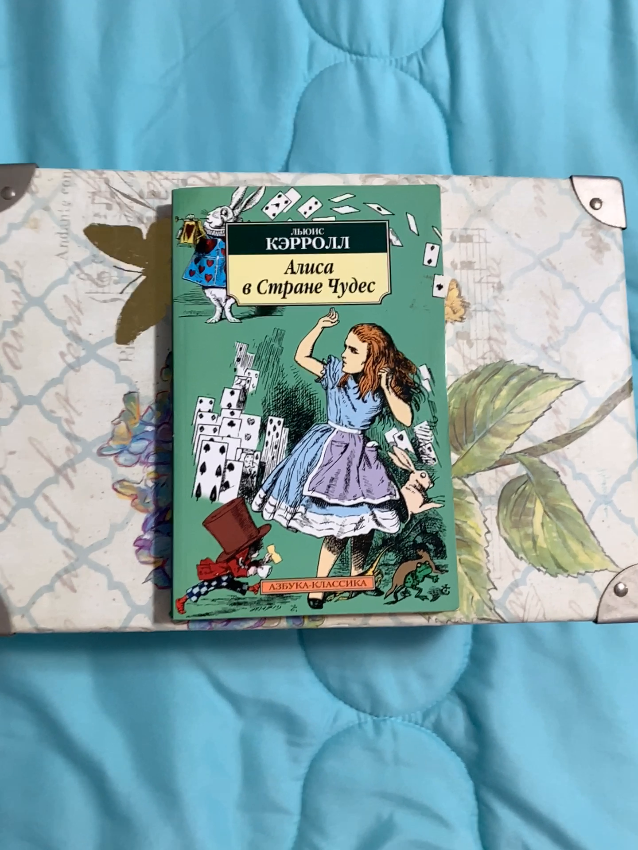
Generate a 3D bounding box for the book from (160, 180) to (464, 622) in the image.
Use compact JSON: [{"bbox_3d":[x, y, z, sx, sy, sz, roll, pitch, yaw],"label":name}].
[{"bbox_3d":[-0.005,-0.013,0.277,0.118,0.018,0.179,-2,84,-4],"label":"book"}]
